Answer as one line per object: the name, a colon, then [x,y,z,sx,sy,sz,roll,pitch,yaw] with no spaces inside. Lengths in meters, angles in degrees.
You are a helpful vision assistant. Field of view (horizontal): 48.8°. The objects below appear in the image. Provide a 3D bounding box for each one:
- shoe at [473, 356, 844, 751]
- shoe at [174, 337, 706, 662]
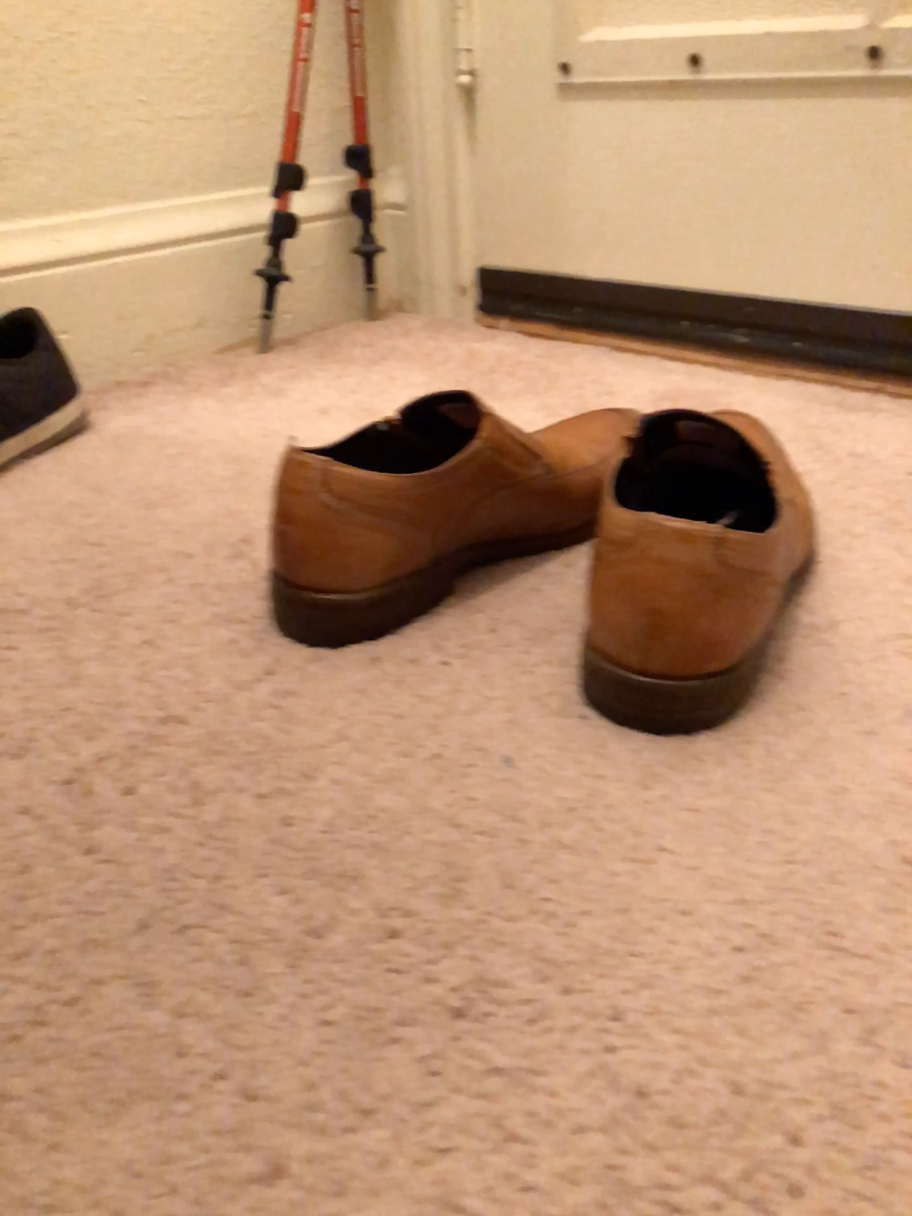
shoe: [0.123,-0.054,0.528,0.107,0.089,0.312,11,28,23]
shoe: [0.010,-0.081,0.582,0.100,0.090,0.321,23,34,39]
